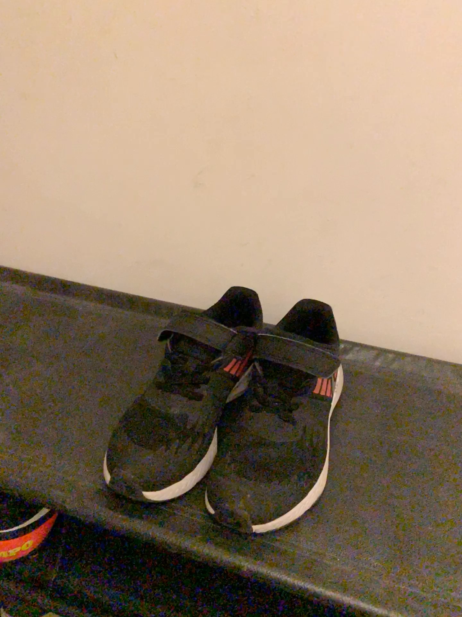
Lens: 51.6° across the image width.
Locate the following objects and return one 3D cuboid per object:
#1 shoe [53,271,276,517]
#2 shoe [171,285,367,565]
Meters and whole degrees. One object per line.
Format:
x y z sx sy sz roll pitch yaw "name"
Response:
-0.041 0.055 0.410 0.090 0.079 0.202 16 34 19 "shoe"
0.040 0.071 0.378 0.090 0.079 0.202 14 34 17 "shoe"
